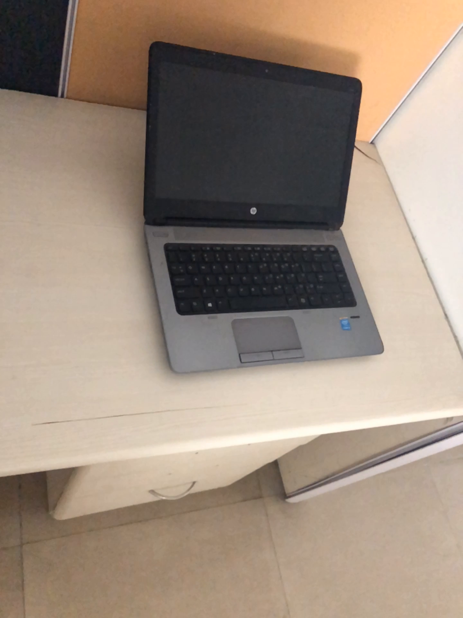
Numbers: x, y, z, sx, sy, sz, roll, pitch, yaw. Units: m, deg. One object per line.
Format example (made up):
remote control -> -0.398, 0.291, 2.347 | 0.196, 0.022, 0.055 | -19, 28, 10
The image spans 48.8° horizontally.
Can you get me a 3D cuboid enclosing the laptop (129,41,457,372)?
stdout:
laptop -> 0.065, -0.137, 0.710 | 0.325, 0.167, 0.372 | -3, 65, -26
